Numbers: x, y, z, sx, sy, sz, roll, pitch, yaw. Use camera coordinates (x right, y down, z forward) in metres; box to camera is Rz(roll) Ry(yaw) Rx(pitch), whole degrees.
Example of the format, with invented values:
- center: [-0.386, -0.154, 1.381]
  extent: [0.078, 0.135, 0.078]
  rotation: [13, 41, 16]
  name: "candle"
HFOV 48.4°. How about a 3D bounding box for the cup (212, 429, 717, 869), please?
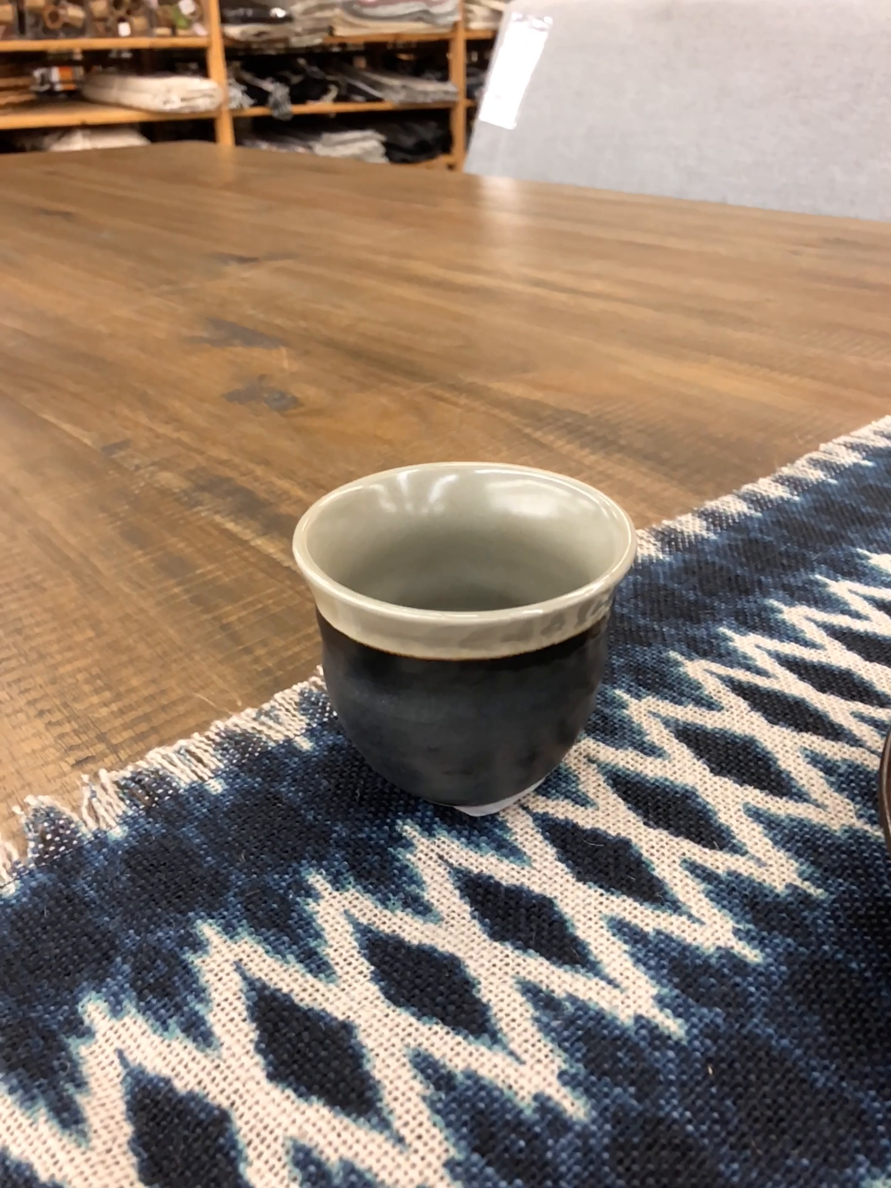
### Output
- center: [0.003, 0.005, 0.235]
  extent: [0.078, 0.048, 0.085]
  rotation: [-2, 30, 1]
  name: "cup"
